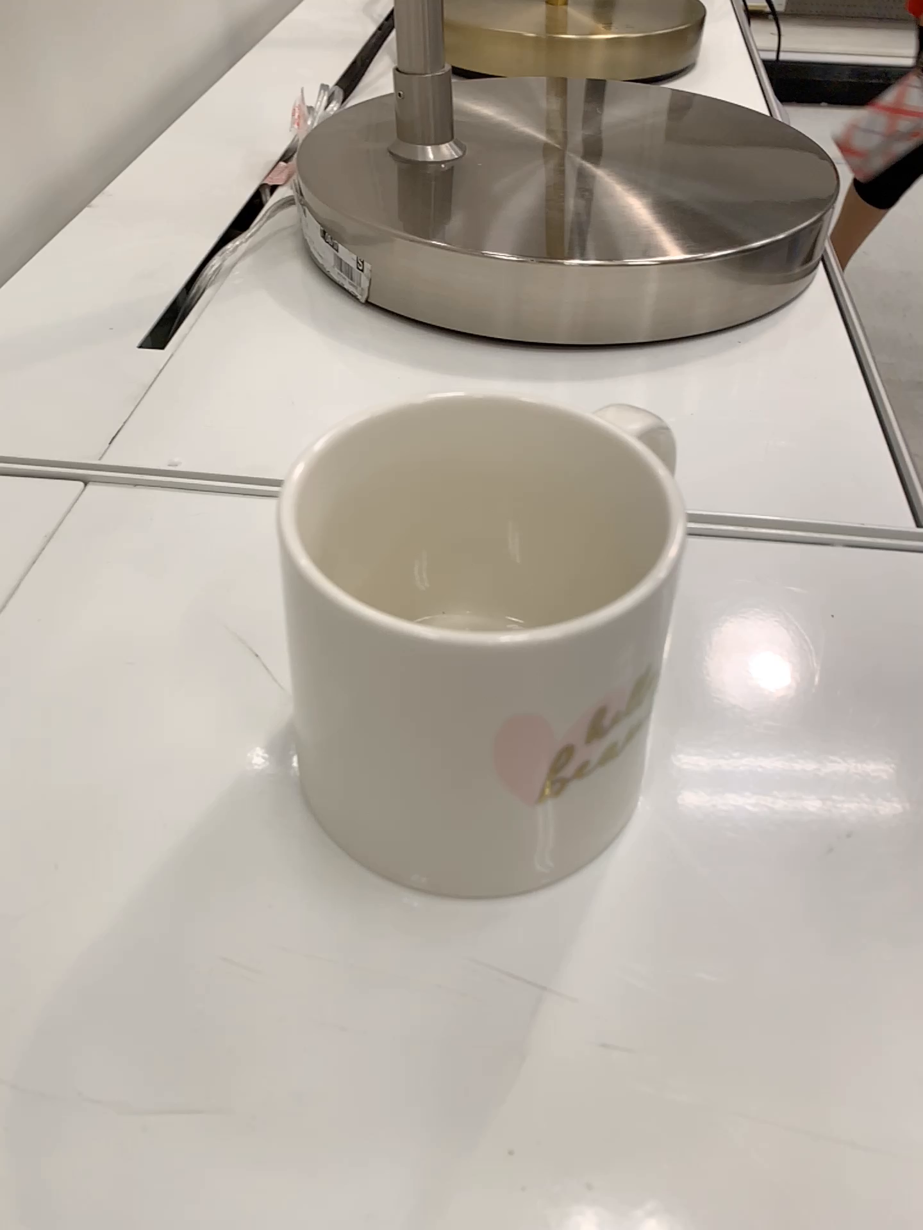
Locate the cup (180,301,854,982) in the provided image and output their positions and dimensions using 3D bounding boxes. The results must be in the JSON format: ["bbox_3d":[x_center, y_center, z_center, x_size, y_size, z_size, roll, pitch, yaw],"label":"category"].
[{"bbox_3d":[0.019,-0.001,0.271,0.105,0.097,0.140,31,54,26],"label":"cup"}]
